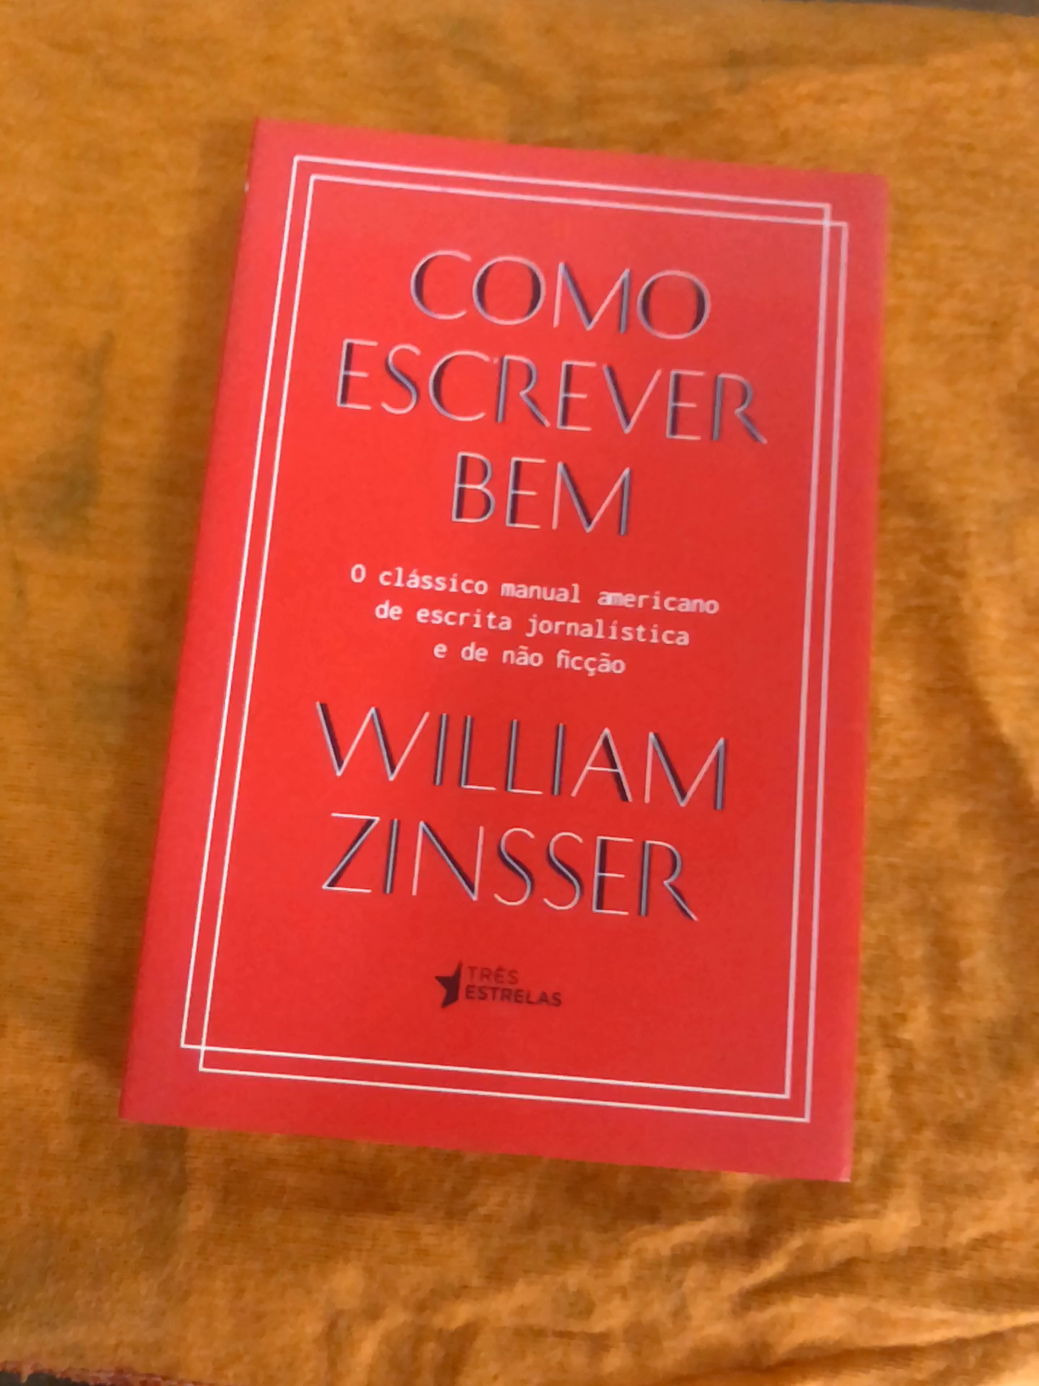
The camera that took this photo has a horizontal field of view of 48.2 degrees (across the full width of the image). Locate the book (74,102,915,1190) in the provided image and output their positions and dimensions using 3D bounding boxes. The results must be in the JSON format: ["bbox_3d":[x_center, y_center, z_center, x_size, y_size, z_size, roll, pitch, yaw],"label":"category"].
[{"bbox_3d":[0.001,-0.015,0.226,0.140,0.020,0.195,5,81,0],"label":"book"}]
